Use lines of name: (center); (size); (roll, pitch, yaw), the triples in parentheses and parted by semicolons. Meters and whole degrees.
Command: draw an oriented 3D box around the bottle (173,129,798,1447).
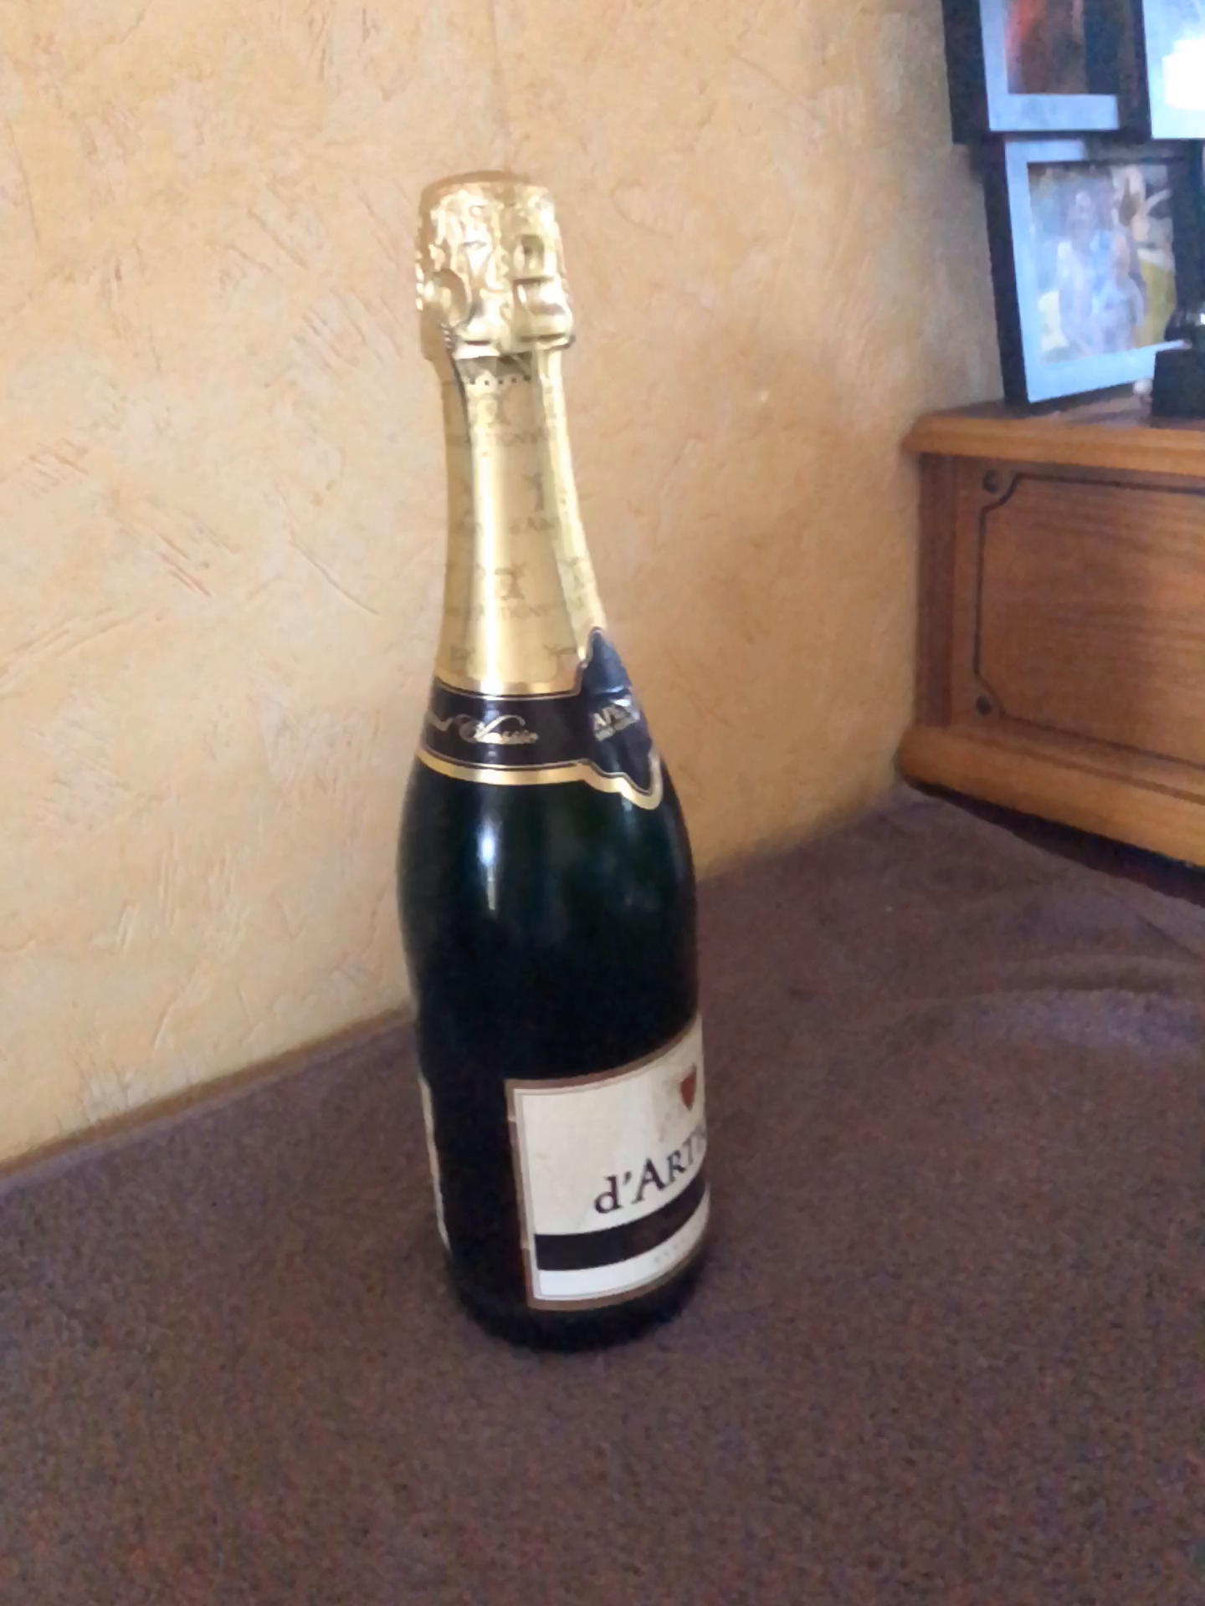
bottle: (-0.015, 0.000, 0.363); (0.100, 0.318, 0.101); (-3, 22, 1)
